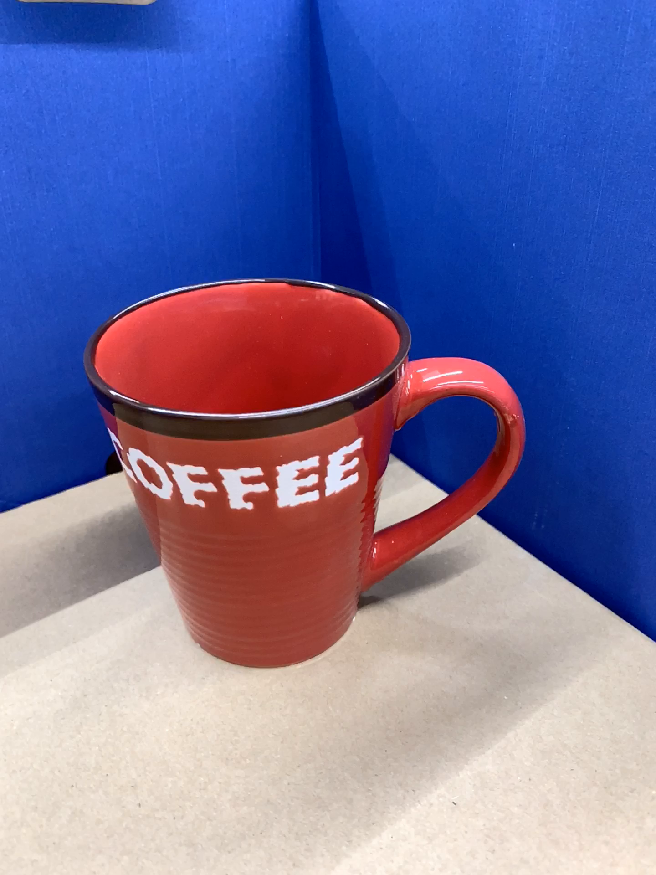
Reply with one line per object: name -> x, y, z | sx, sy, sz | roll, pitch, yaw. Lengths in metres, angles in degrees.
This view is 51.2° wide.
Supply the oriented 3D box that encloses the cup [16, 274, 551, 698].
cup -> -0.008, 0.008, 0.225 | 0.125, 0.092, 0.101 | 3, 30, 4
